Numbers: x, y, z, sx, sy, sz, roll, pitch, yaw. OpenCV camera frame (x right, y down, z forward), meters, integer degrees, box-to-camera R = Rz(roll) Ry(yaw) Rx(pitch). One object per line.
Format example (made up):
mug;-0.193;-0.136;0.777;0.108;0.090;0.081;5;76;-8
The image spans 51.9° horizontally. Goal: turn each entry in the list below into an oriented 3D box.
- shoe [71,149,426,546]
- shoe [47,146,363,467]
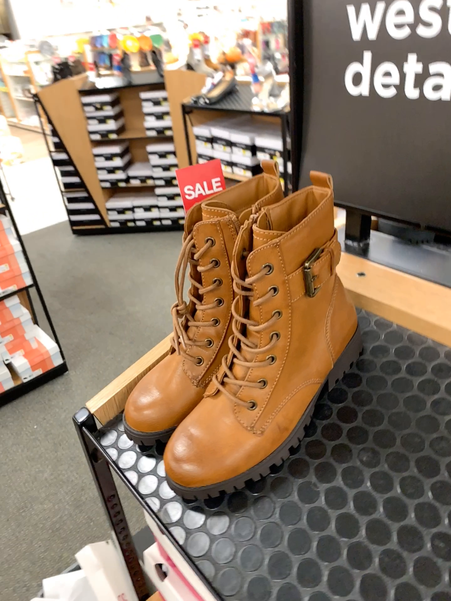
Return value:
shoe;0.046;0.018;0.422;0.286;0.229;0.110;-30;38;-33
shoe;0.001;-0.005;0.472;0.276;0.229;0.090;-22;34;-24
